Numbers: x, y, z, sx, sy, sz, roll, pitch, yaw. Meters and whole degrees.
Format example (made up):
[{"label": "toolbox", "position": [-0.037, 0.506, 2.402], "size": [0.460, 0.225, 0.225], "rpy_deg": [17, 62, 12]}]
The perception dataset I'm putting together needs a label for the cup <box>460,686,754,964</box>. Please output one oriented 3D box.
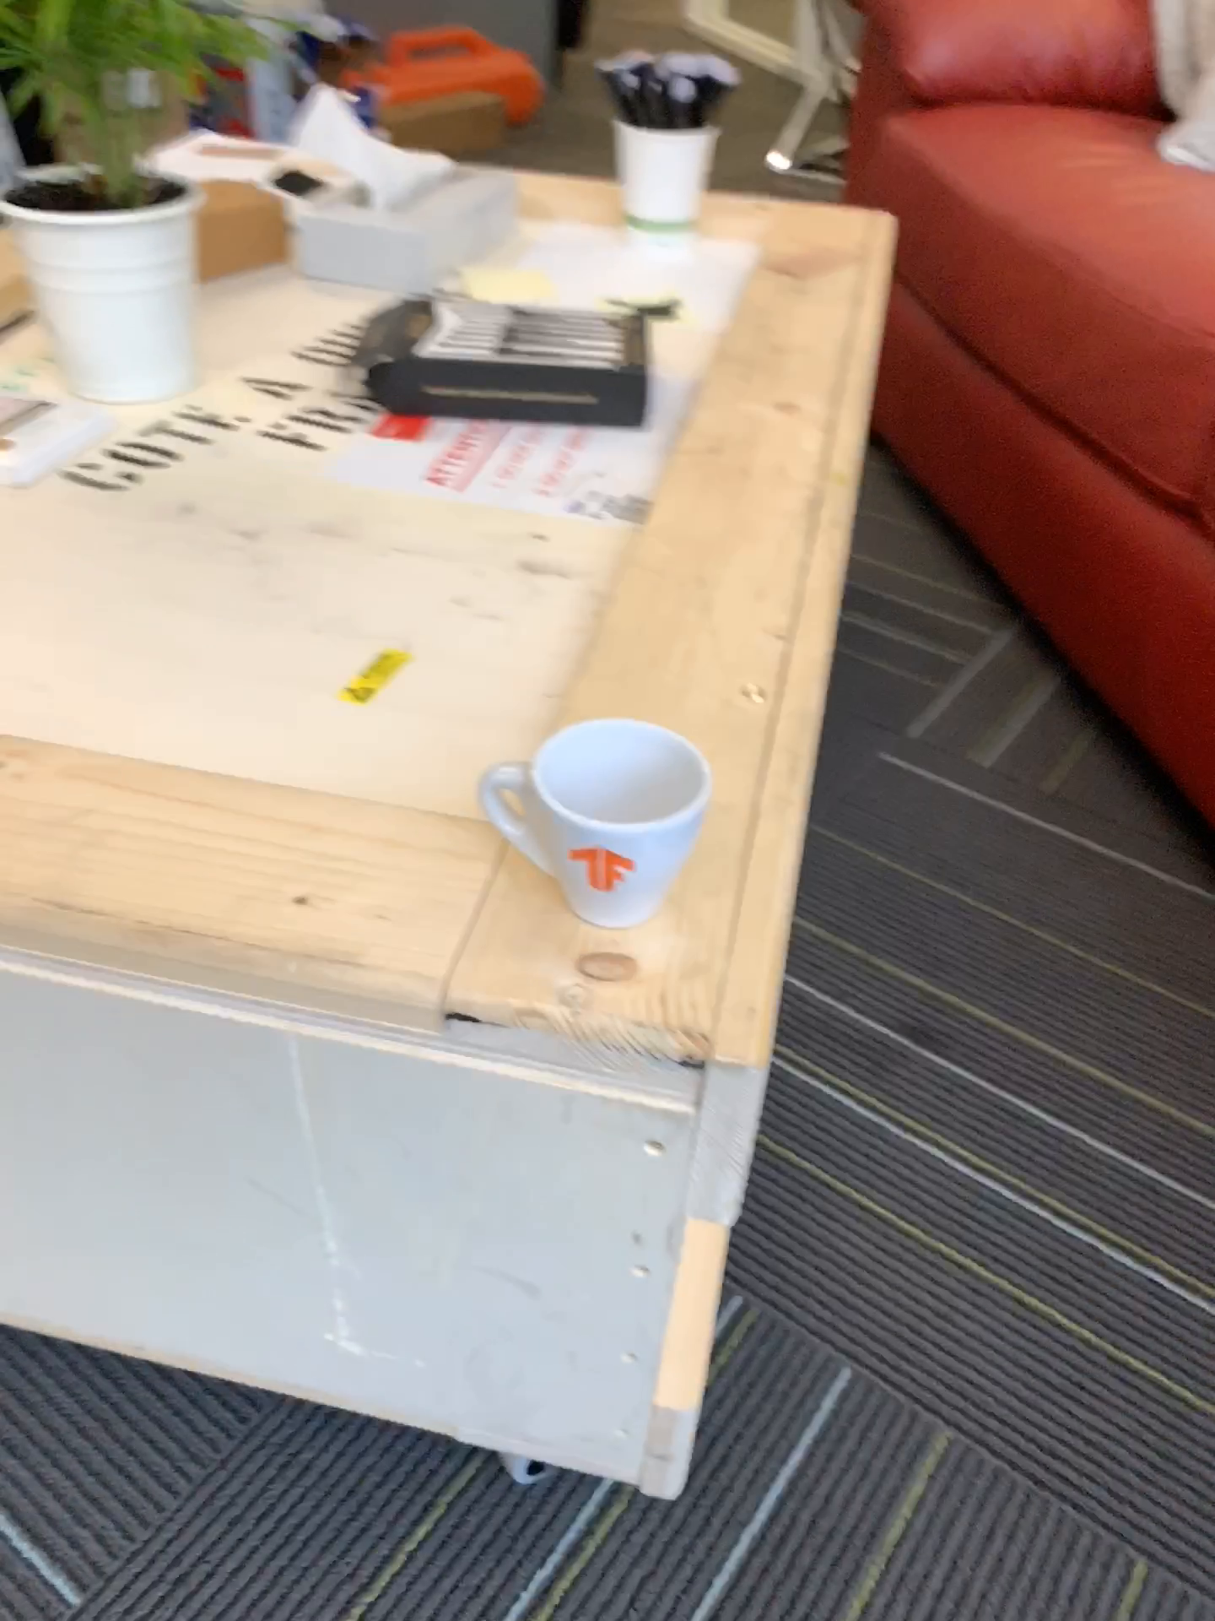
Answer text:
[{"label": "cup", "position": [0.000, 0.004, 0.454], "size": [0.090, 0.060, 0.060], "rpy_deg": [11, 40, 9]}]
